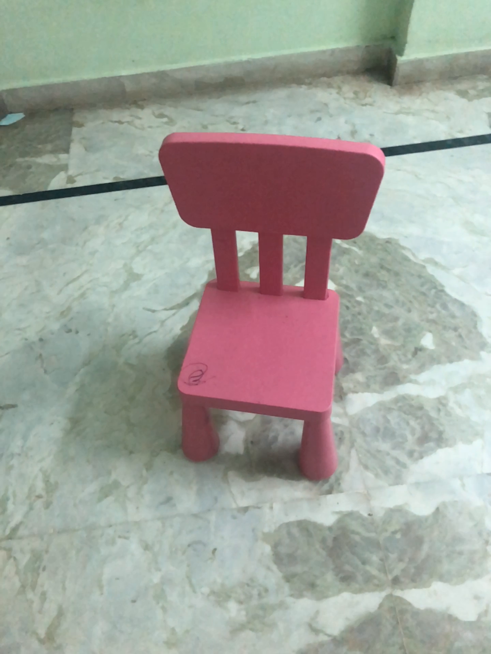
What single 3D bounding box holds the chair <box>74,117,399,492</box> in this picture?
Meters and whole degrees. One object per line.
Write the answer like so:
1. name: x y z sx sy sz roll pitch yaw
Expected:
1. chair: 0.029 0.004 1.017 0.400 0.627 0.382 6 57 8
